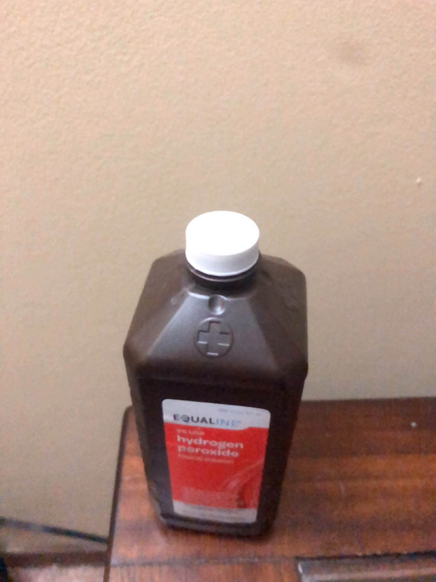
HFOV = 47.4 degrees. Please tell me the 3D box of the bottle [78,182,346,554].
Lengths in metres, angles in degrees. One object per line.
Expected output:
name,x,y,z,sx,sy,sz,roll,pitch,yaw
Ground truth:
bottle,0.001,0.051,0.258,0.090,0.190,0.080,4,41,4
